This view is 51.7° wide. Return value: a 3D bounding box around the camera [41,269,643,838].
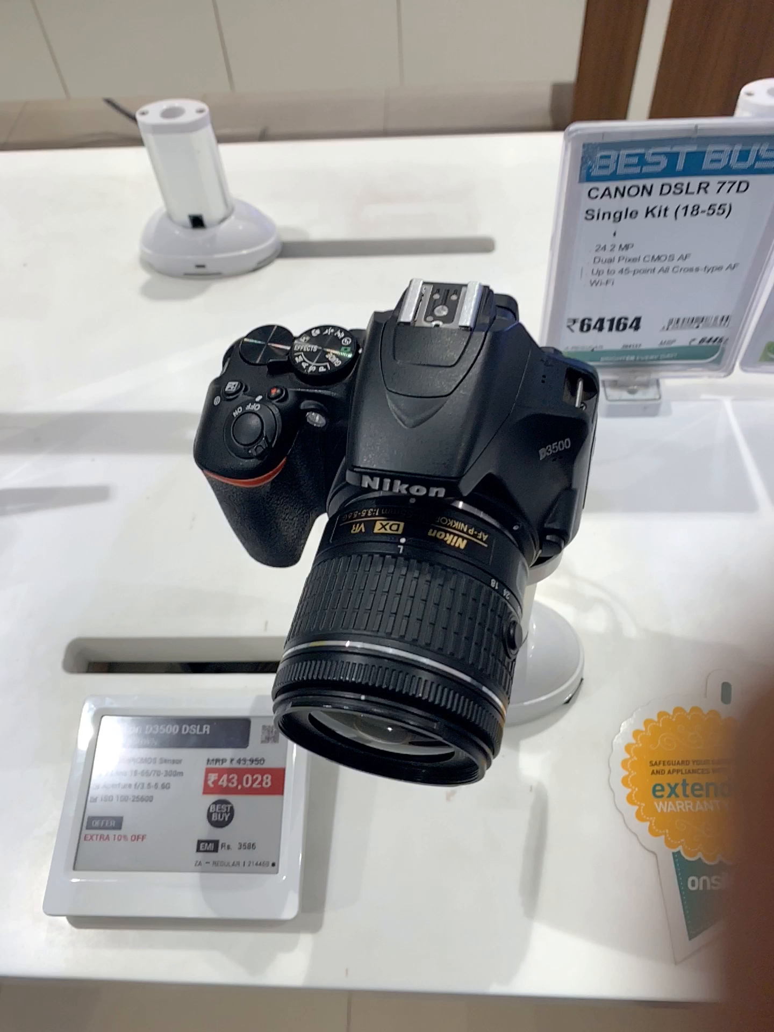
[{"bbox_3d":[0.000,0.009,0.210,0.110,0.090,0.103,8,56,10],"label":"camera"}]
